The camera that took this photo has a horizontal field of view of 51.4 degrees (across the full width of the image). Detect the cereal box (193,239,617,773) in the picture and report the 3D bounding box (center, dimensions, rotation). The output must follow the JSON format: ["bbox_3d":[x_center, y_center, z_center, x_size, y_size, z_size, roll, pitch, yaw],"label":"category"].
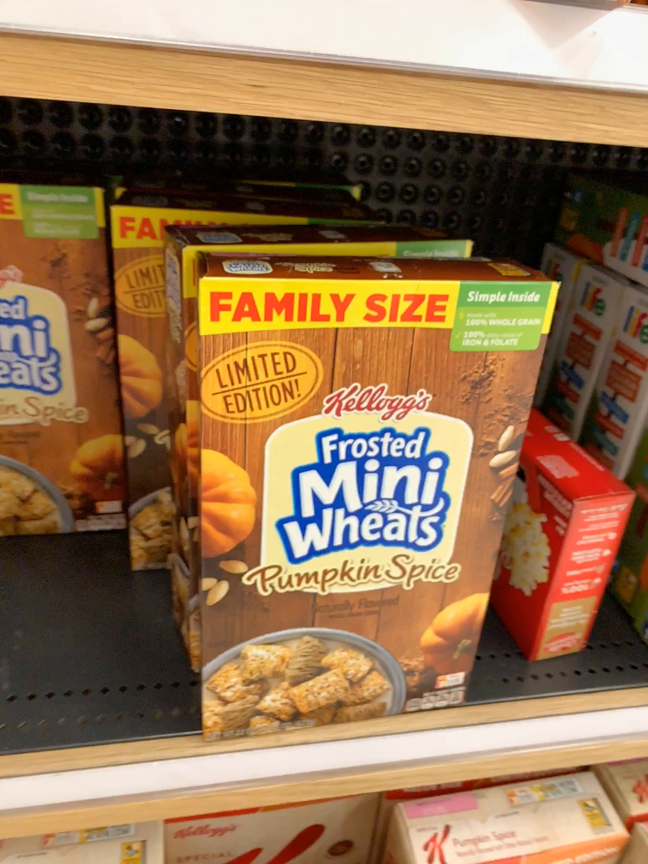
[{"bbox_3d":[0.029,0.054,0.391,0.200,0.308,0.050,-2,26,-15],"label":"cereal box"}]
